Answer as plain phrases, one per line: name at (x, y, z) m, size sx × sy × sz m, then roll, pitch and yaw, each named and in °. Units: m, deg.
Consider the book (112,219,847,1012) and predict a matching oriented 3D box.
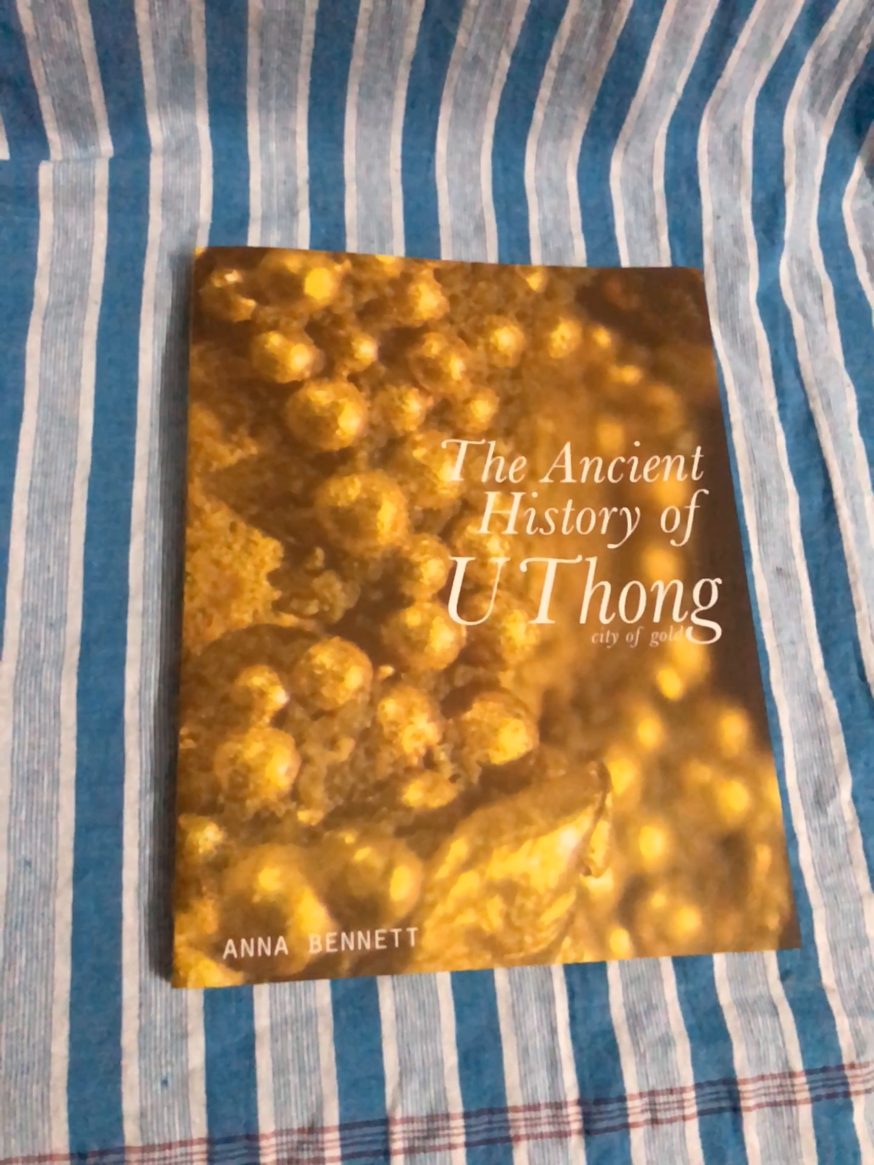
book at (0.012, 0.001, 0.331) m, size 0.220 × 0.030 × 0.250 m, roll 0°, pitch 73°, yaw -11°
